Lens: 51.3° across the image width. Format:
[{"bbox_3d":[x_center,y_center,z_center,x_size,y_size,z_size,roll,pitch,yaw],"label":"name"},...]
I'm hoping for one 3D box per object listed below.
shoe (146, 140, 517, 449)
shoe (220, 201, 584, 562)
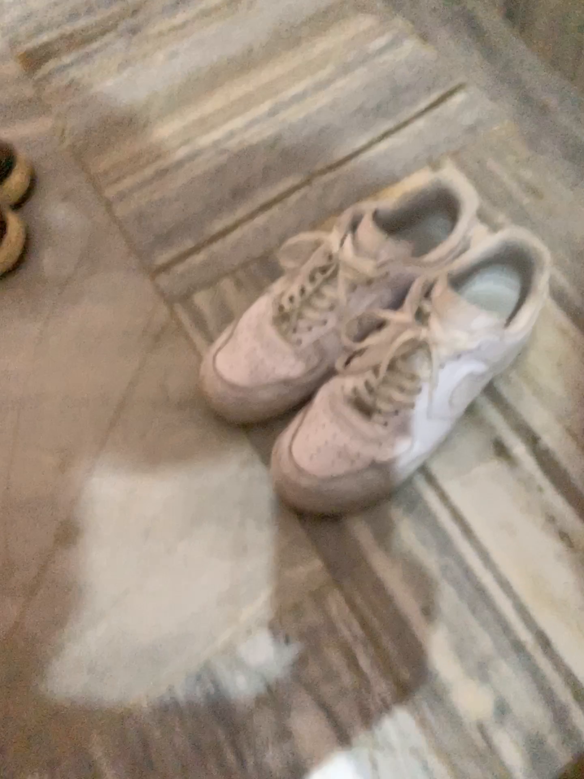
[{"bbox_3d":[0.039,-0.087,0.579,0.310,0.120,0.110,-31,69,-8],"label":"shoe"},{"bbox_3d":[0.102,-0.005,0.533,0.310,0.120,0.110,-40,71,-11],"label":"shoe"}]
